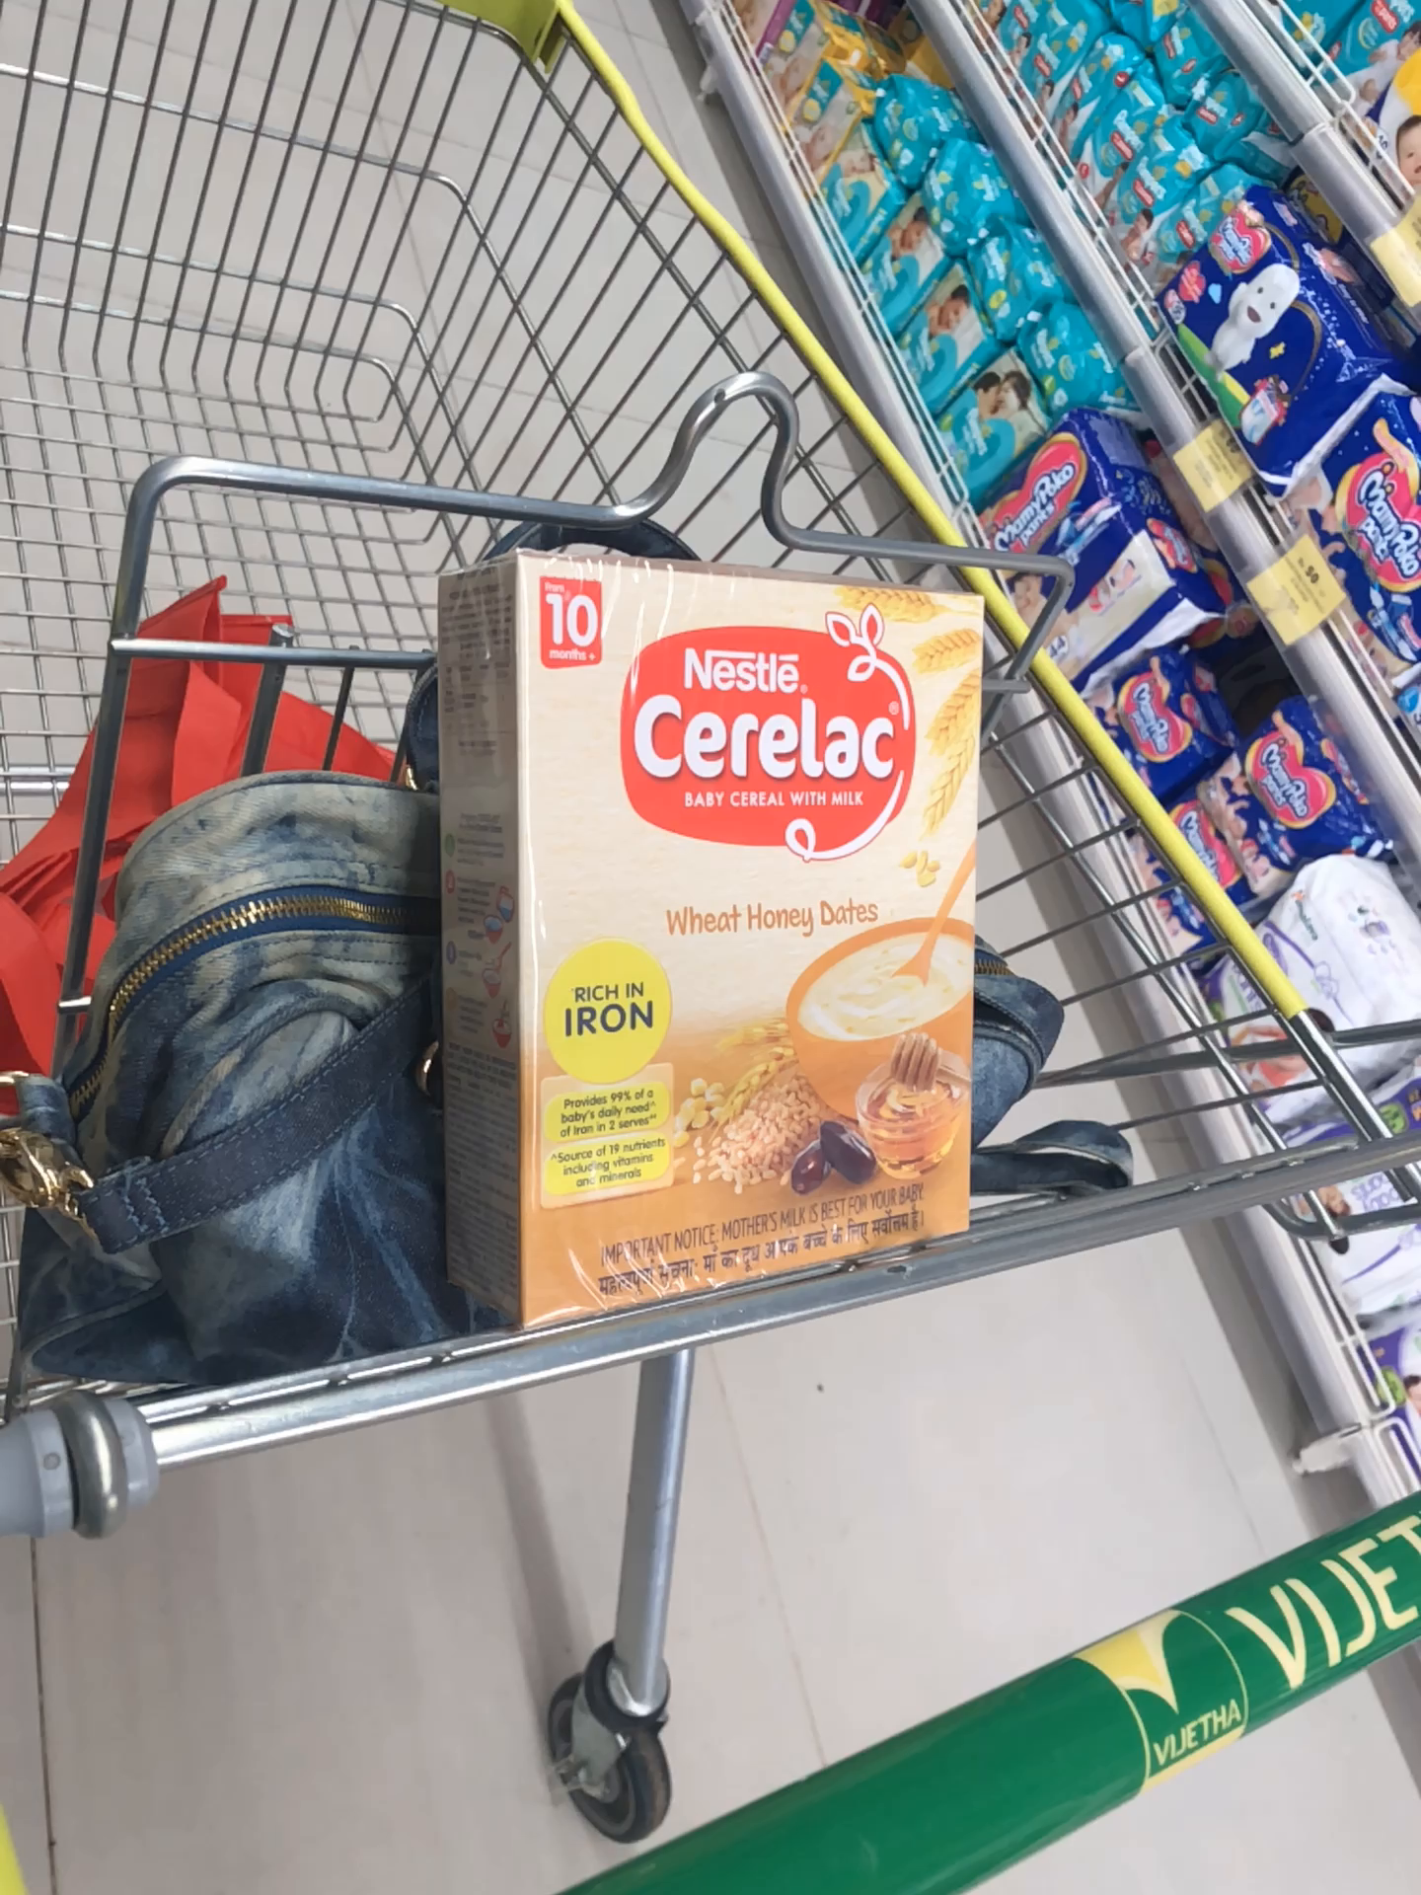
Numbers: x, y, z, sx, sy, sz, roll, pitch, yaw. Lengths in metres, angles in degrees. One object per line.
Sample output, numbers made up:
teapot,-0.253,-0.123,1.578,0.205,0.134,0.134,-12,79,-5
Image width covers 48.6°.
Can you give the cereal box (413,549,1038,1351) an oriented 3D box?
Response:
cereal box,0.010,-0.005,0.444,0.171,0.060,0.190,-5,97,-35
